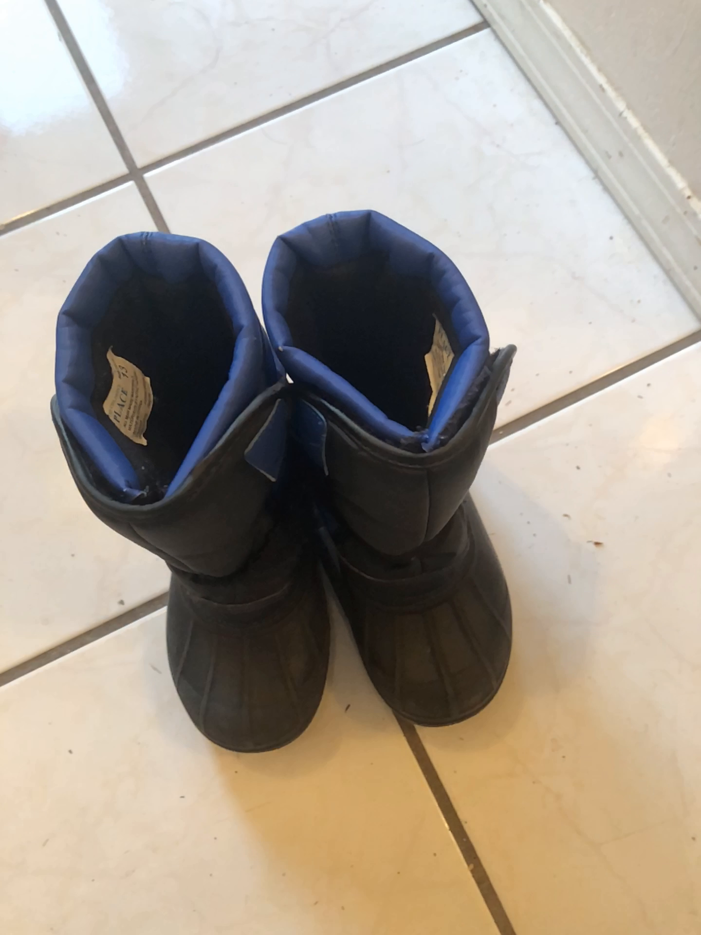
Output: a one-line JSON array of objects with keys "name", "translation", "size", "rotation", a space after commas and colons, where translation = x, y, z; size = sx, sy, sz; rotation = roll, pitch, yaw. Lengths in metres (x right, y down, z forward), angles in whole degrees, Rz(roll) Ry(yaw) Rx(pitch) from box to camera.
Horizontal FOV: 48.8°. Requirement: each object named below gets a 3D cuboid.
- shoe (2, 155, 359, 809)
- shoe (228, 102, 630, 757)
[{"name": "shoe", "translation": [-0.068, 0.021, 0.370], "size": [0.100, 0.200, 0.230], "rotation": [-9, 71, 0]}, {"name": "shoe", "translation": [0.025, 0.000, 0.387], "size": [0.100, 0.200, 0.251], "rotation": [-11, 71, 0]}]
